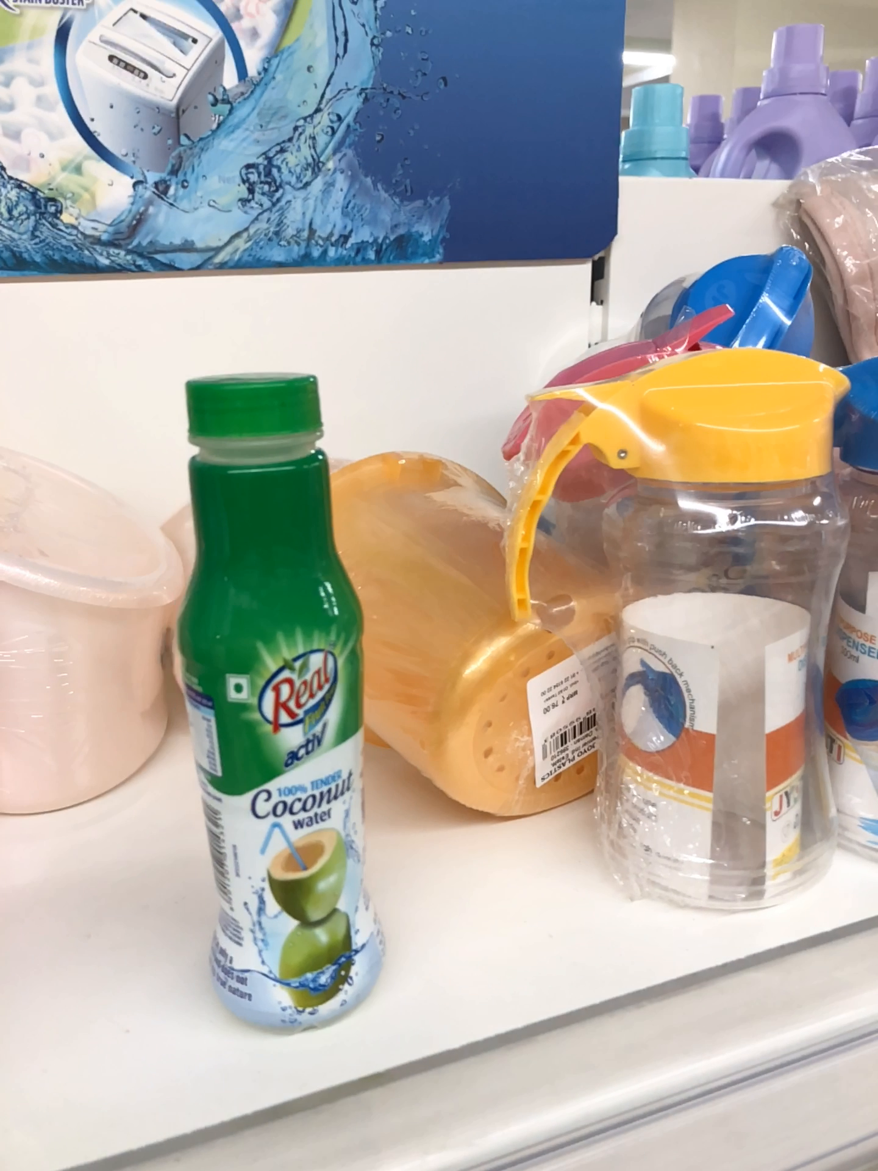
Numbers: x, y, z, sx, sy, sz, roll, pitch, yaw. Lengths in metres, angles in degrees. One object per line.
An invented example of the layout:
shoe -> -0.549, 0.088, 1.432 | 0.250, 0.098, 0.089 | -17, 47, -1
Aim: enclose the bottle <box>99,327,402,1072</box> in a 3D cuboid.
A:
bottle -> -0.046, 0.028, 0.253 | 0.050, 0.179, 0.050 | -1, 18, 0
